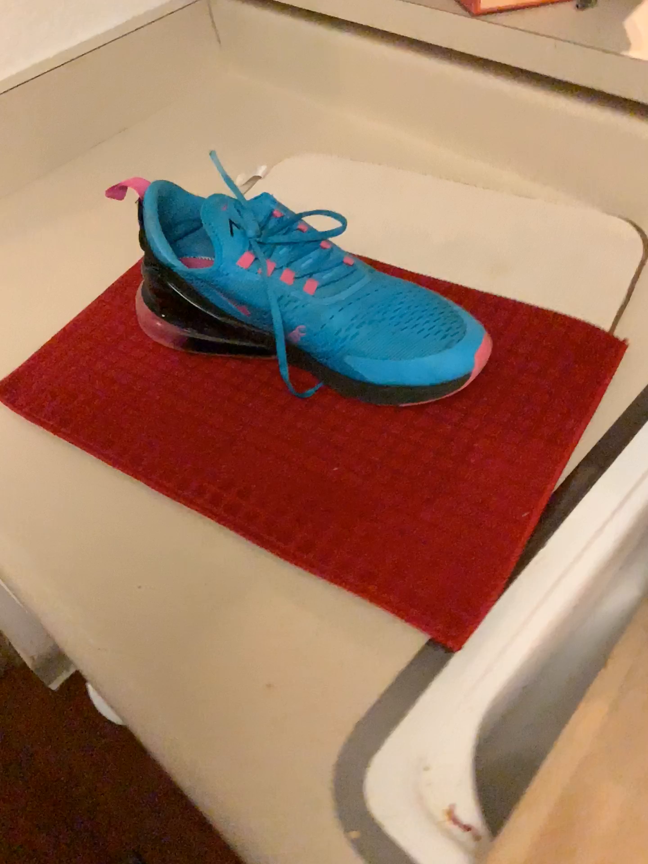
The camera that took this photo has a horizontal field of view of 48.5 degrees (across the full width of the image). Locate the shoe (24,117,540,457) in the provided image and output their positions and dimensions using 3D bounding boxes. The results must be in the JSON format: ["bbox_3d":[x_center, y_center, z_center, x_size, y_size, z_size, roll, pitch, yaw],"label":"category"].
[{"bbox_3d":[-0.028,-0.121,0.551,0.330,0.130,0.150,16,55,19],"label":"shoe"}]
